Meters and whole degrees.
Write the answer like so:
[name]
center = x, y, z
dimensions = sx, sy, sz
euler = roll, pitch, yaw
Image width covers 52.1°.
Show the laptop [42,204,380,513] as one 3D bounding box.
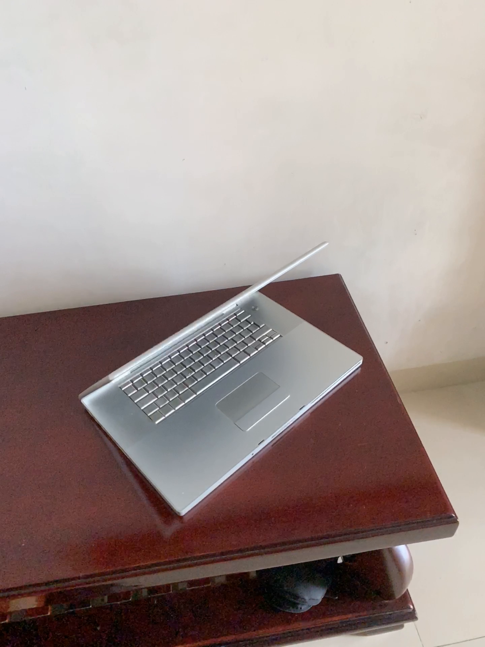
[laptop]
center = -0.030, 0.021, 0.764
dimensions = 0.400, 0.193, 0.266
euler = -33, 51, -30
